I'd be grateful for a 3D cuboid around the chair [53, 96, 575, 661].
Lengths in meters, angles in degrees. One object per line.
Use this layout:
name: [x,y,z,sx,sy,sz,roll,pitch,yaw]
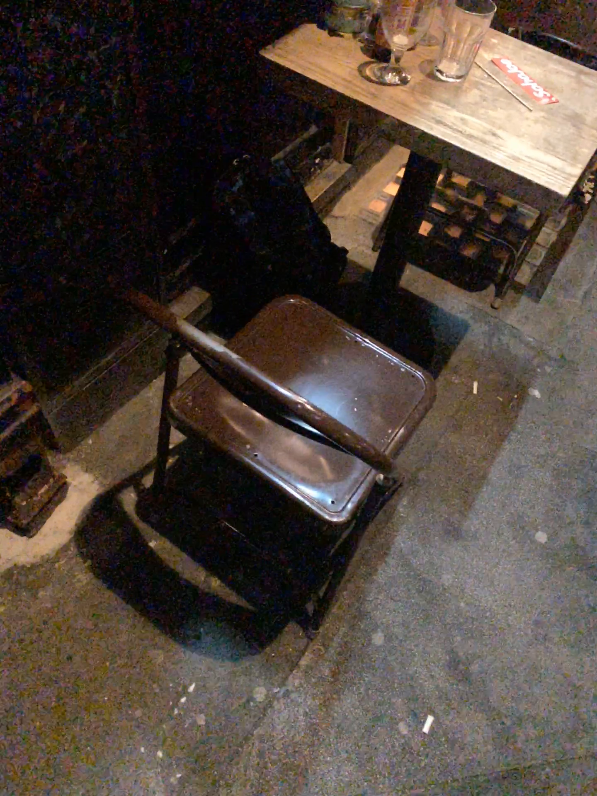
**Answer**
chair: [0.012,0.003,1.060,0.491,0.724,0.483,31,55,17]
